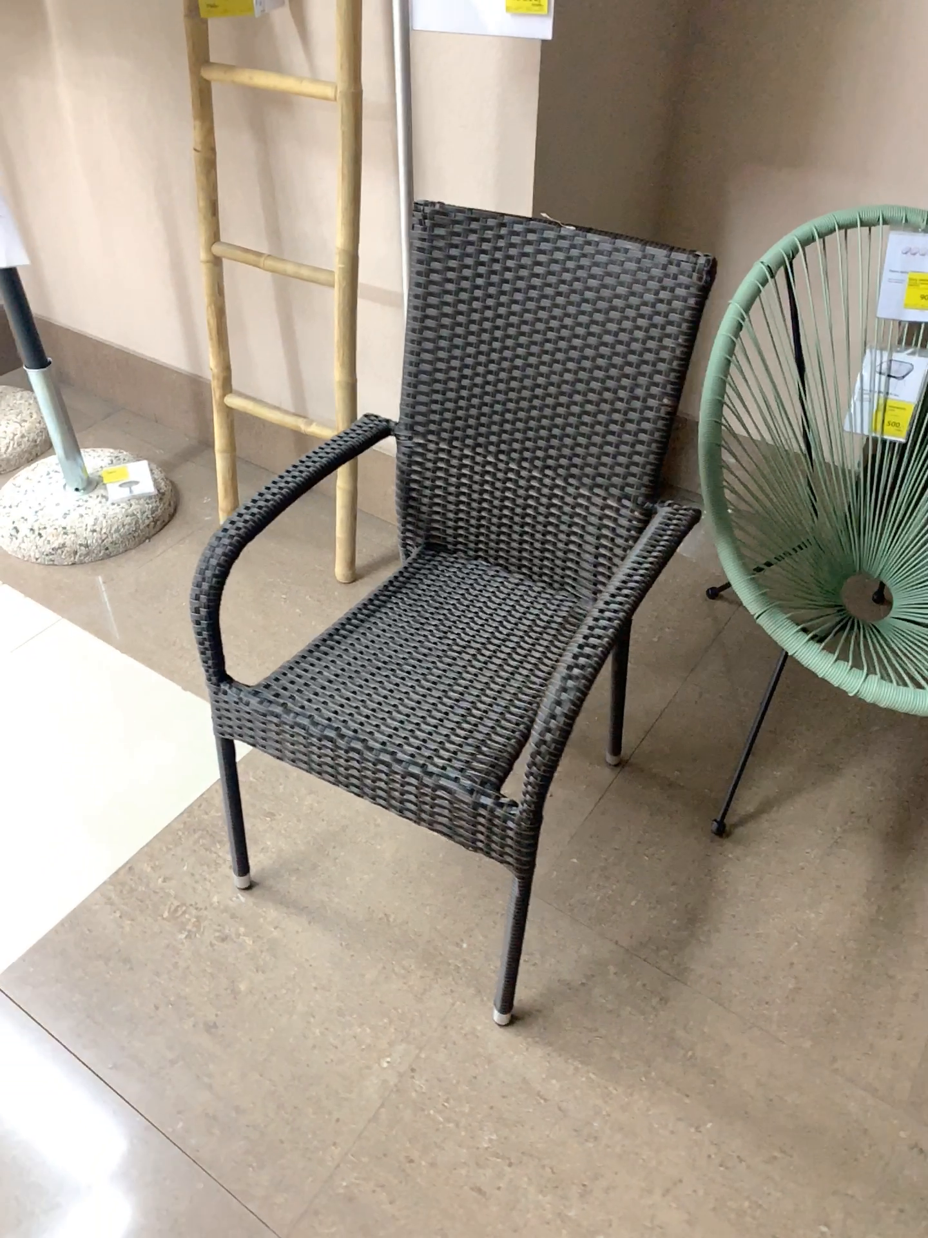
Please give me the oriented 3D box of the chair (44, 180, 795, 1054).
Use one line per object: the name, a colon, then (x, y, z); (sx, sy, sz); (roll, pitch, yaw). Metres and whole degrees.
chair: (-0.009, -0.016, 1.420); (0.621, 0.955, 0.682); (20, 44, 21)
